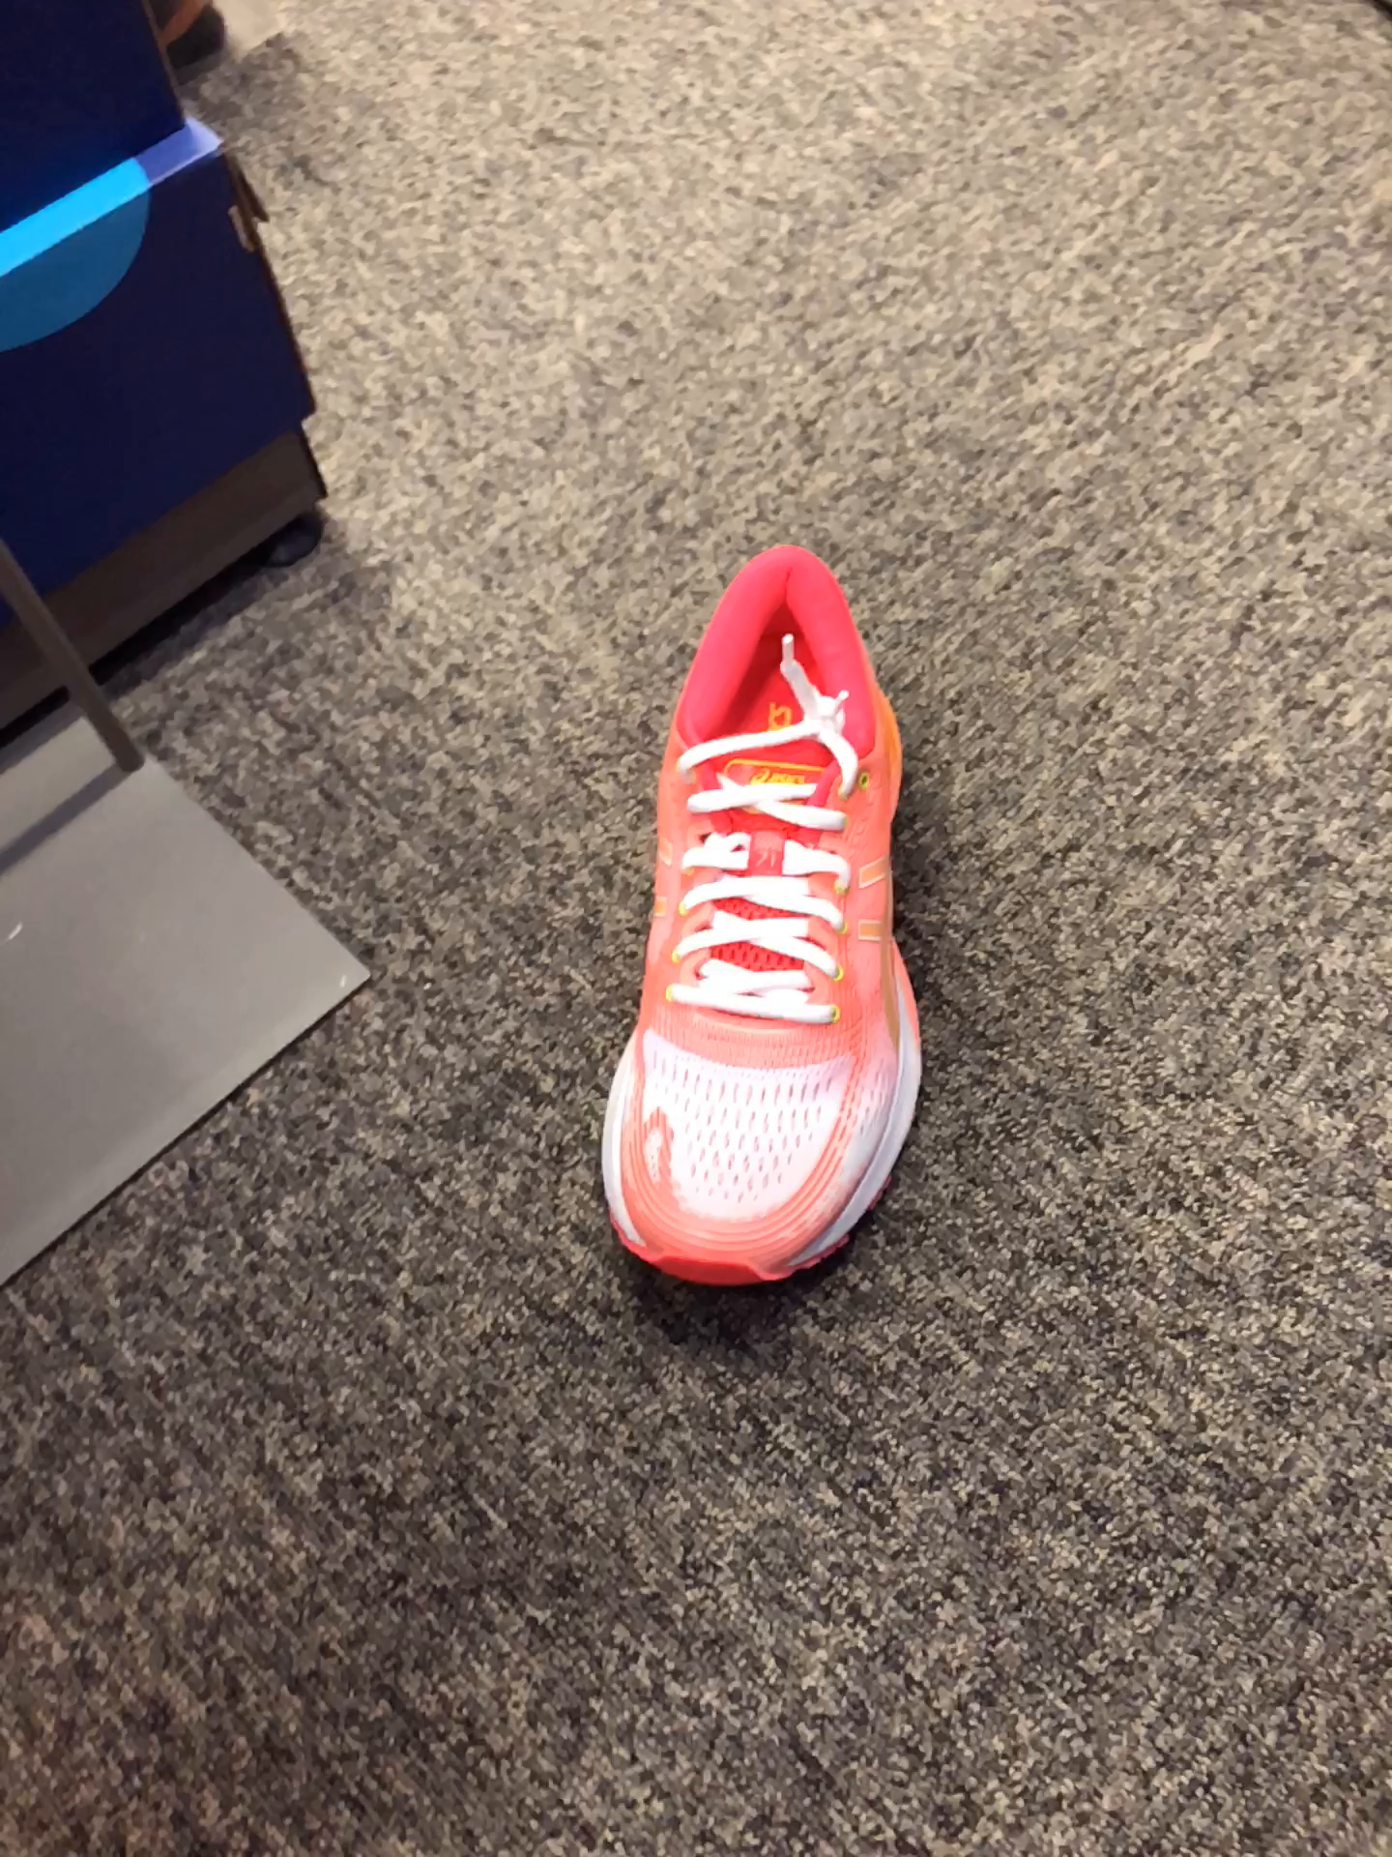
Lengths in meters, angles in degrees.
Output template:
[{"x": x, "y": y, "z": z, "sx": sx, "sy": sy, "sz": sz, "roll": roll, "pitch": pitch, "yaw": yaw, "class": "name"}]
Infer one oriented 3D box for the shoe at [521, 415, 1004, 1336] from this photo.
[{"x": 0.033, "y": -0.022, "z": 0.509, "sx": 0.107, "sy": 0.130, "sz": 0.269, "roll": 6, "pitch": 62, "yaw": 8, "class": "shoe"}]
